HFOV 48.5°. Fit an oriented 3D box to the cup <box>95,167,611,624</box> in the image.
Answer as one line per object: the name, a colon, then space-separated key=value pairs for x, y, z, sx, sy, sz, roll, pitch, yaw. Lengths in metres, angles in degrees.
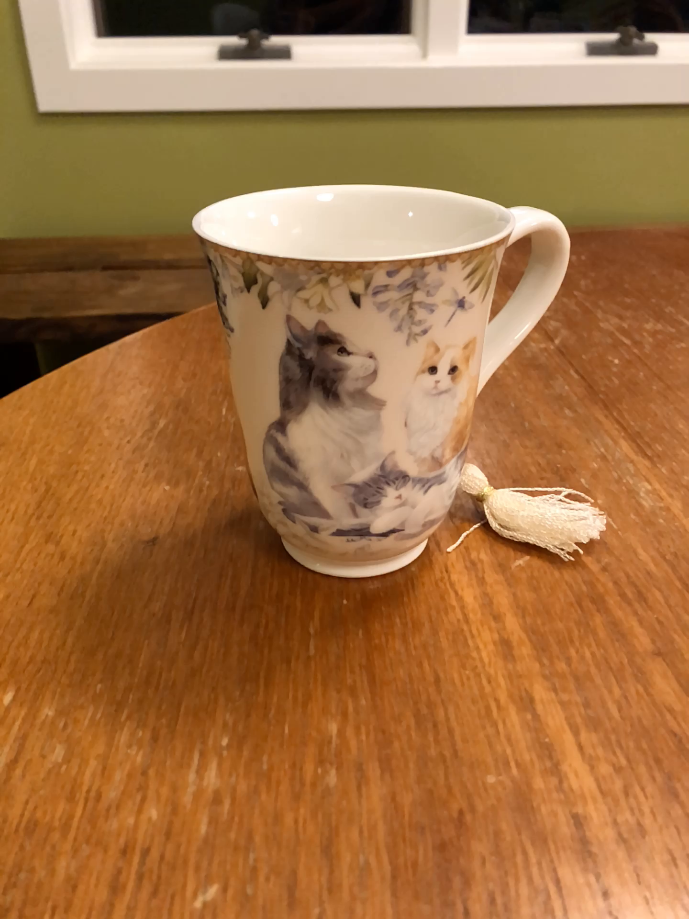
cup: x=0.009 y=-0.036 z=0.260 sx=0.094 sy=0.092 sz=0.136 roll=24 pitch=38 yaw=35
